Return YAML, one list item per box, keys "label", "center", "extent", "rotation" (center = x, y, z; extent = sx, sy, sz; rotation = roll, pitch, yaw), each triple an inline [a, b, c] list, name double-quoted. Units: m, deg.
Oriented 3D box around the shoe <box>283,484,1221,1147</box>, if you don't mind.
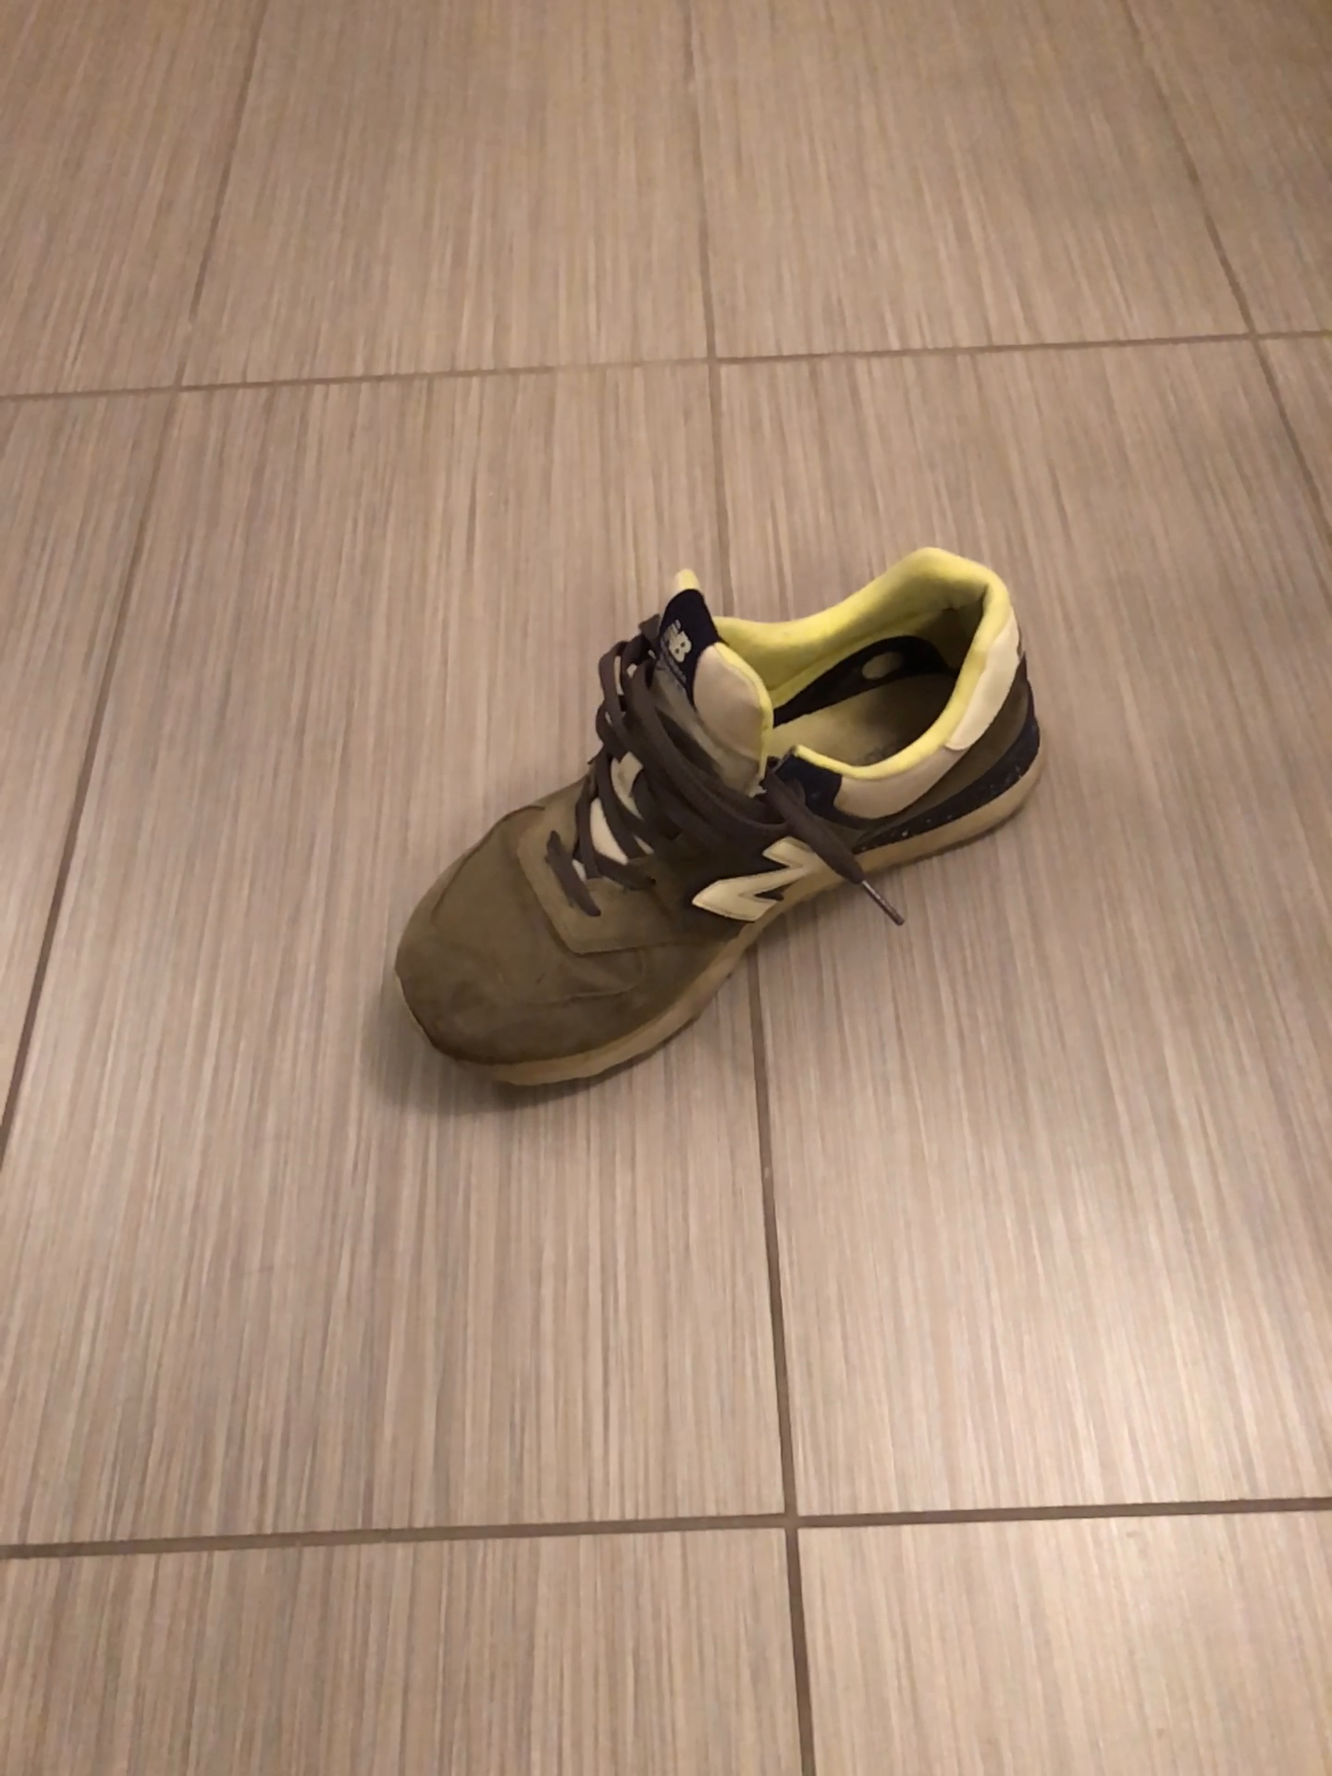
- label: "shoe"
  center: [0.031, -0.032, 0.571]
  extent: [0.310, 0.110, 0.130]
  rotation: [-19, 58, -10]
